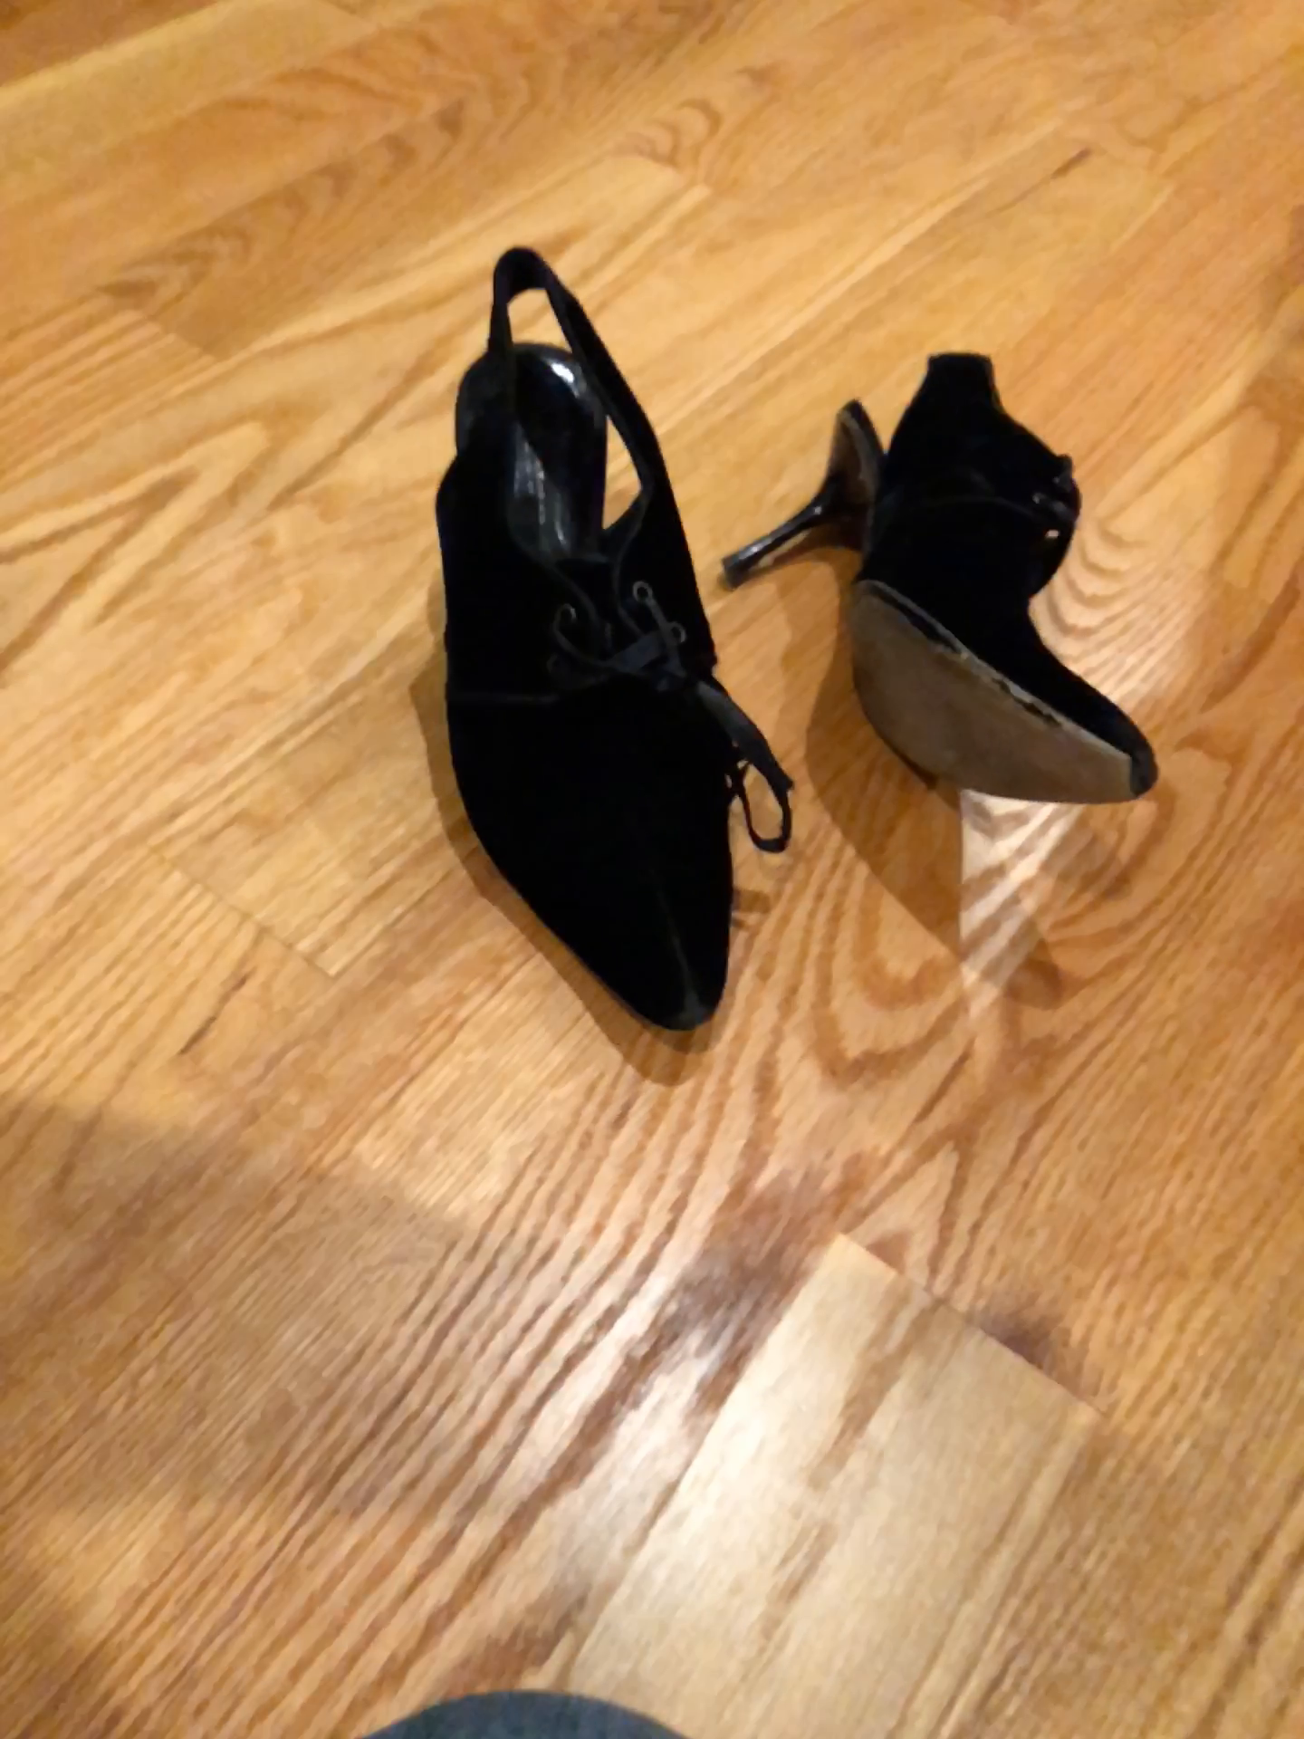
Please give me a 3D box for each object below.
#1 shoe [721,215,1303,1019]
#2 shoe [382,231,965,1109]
[{"bbox_3d":[0.106,-0.092,0.461,0.118,0.107,0.253,-3,53,-8],"label":"shoe"},{"bbox_3d":[-0.012,-0.074,0.445,0.107,0.117,0.253,-7,53,-12],"label":"shoe"}]
